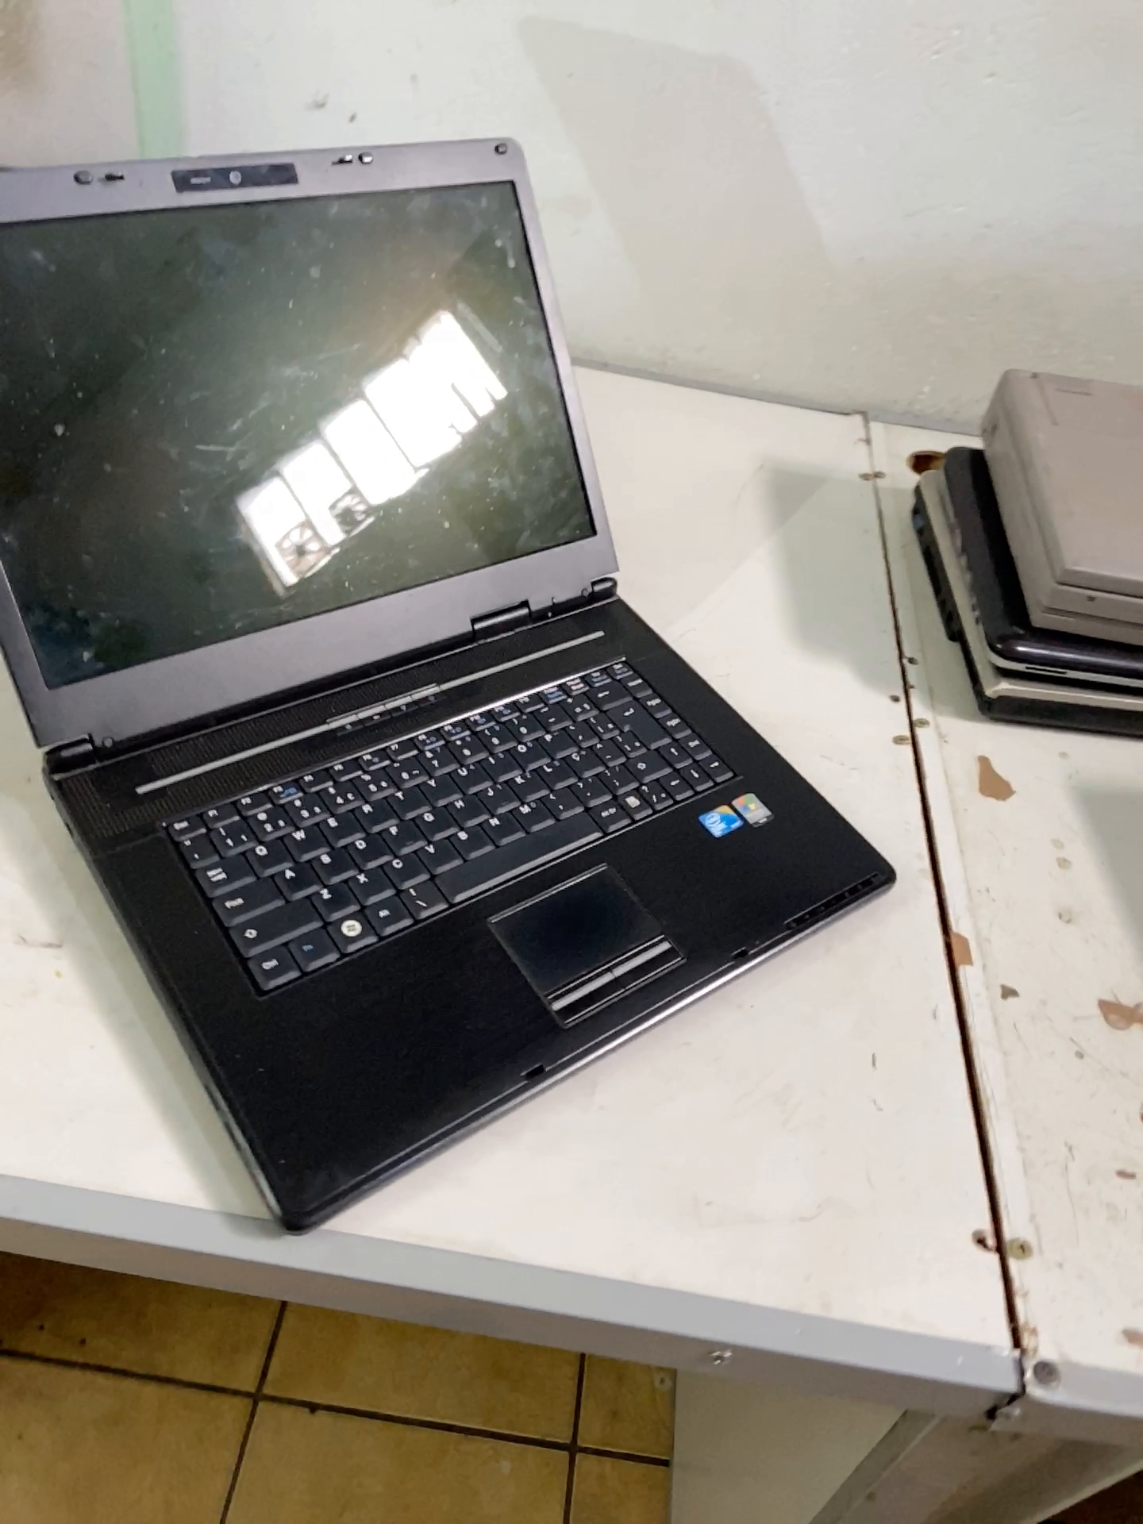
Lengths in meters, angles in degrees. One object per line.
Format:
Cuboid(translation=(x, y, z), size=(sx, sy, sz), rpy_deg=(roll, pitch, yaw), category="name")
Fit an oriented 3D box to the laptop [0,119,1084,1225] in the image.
Cuboid(translation=(-0.072, -0.099, 0.568), size=(0.352, 0.224, 0.430), rpy_deg=(-22, 55, -30), category="laptop")
